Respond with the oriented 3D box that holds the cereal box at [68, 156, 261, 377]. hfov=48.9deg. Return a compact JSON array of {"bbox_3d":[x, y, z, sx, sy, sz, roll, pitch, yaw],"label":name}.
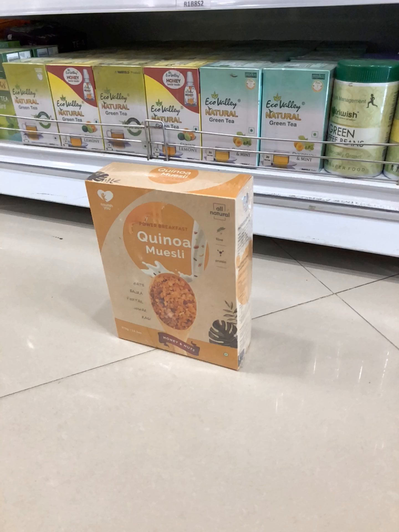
[{"bbox_3d":[-0.029,0.000,0.457,0.170,0.199,0.060,11,35,22],"label":"cereal box"}]
